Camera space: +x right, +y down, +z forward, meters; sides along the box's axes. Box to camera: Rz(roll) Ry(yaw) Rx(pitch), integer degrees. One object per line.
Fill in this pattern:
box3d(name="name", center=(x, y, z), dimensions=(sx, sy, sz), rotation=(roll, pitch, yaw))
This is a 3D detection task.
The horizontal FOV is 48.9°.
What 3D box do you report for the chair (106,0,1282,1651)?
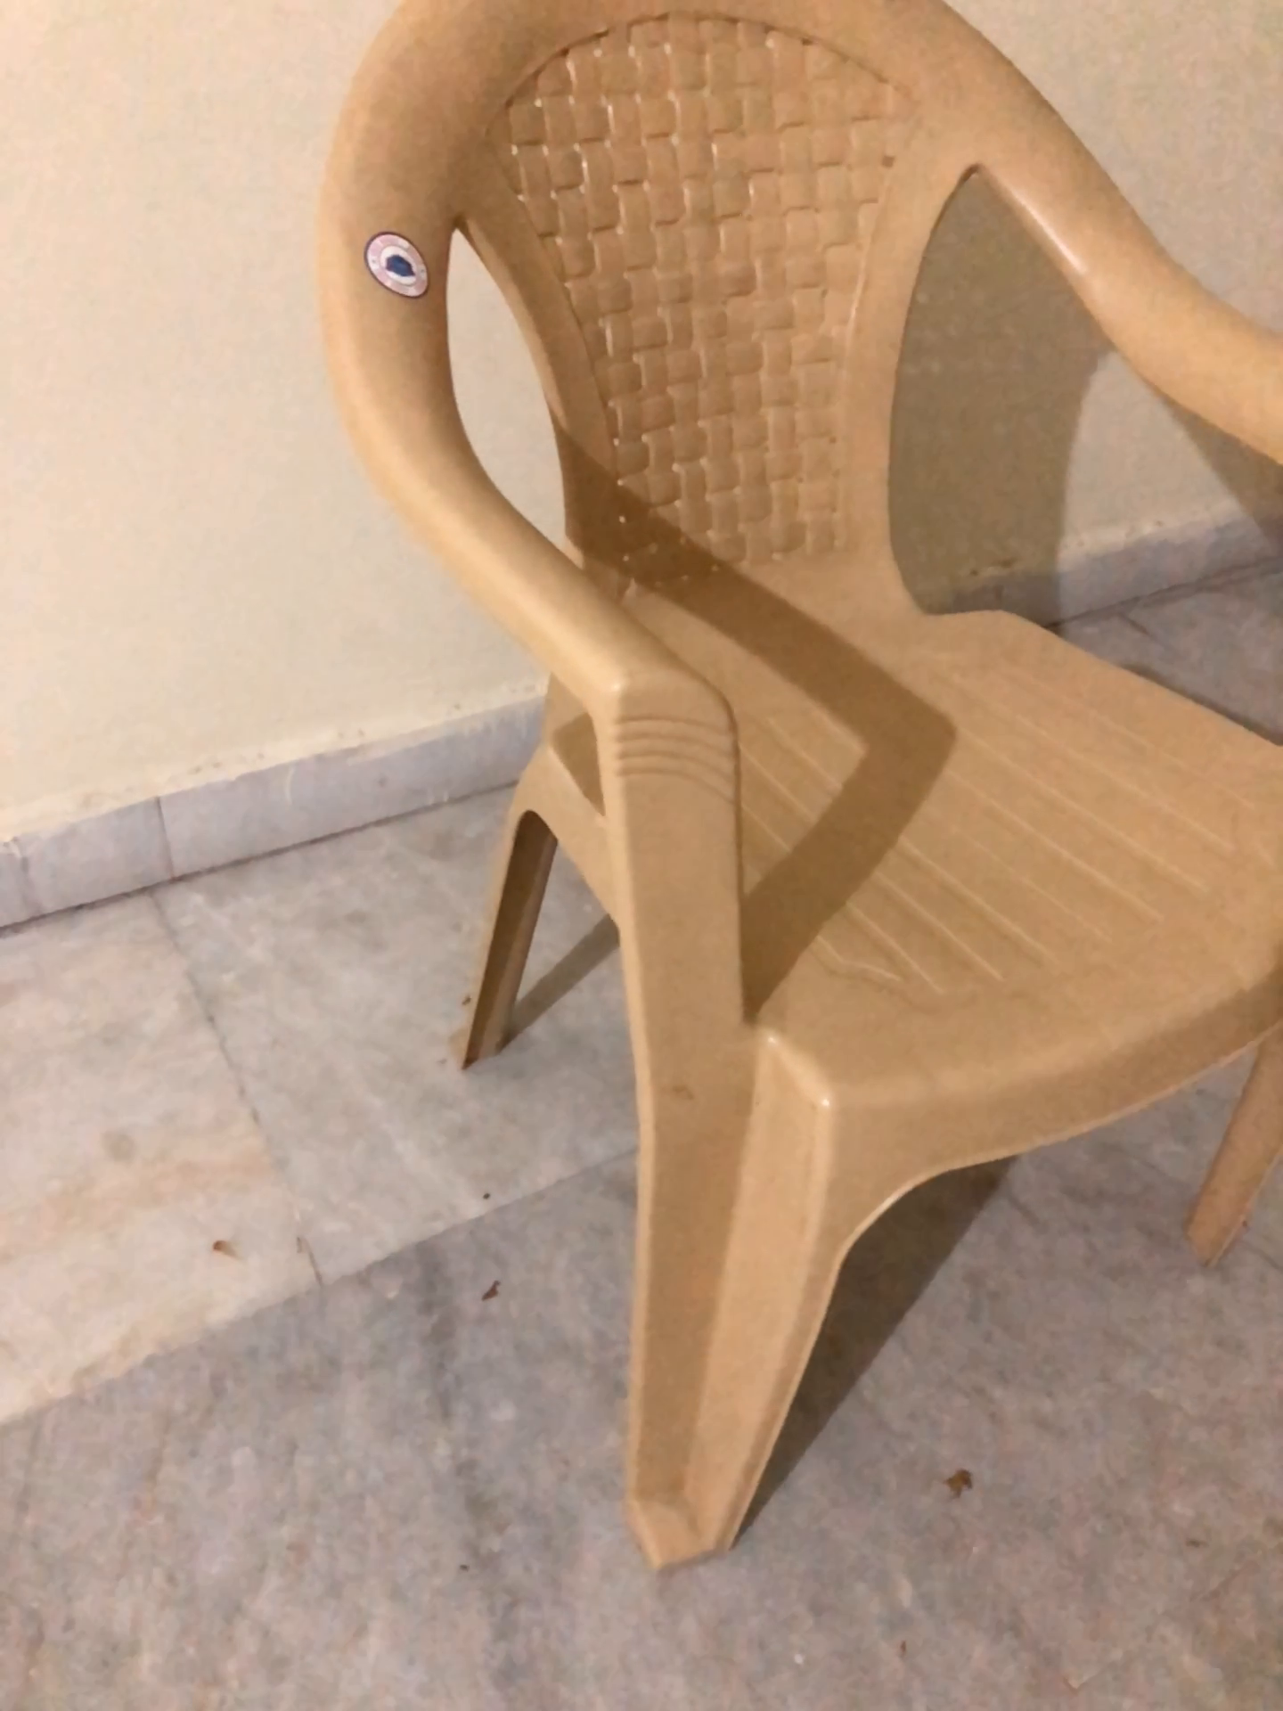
box3d(name="chair", center=(0.126, -0.106, 0.855), dimensions=(0.592, 0.745, 0.602), rotation=(-19, 47, -26))
